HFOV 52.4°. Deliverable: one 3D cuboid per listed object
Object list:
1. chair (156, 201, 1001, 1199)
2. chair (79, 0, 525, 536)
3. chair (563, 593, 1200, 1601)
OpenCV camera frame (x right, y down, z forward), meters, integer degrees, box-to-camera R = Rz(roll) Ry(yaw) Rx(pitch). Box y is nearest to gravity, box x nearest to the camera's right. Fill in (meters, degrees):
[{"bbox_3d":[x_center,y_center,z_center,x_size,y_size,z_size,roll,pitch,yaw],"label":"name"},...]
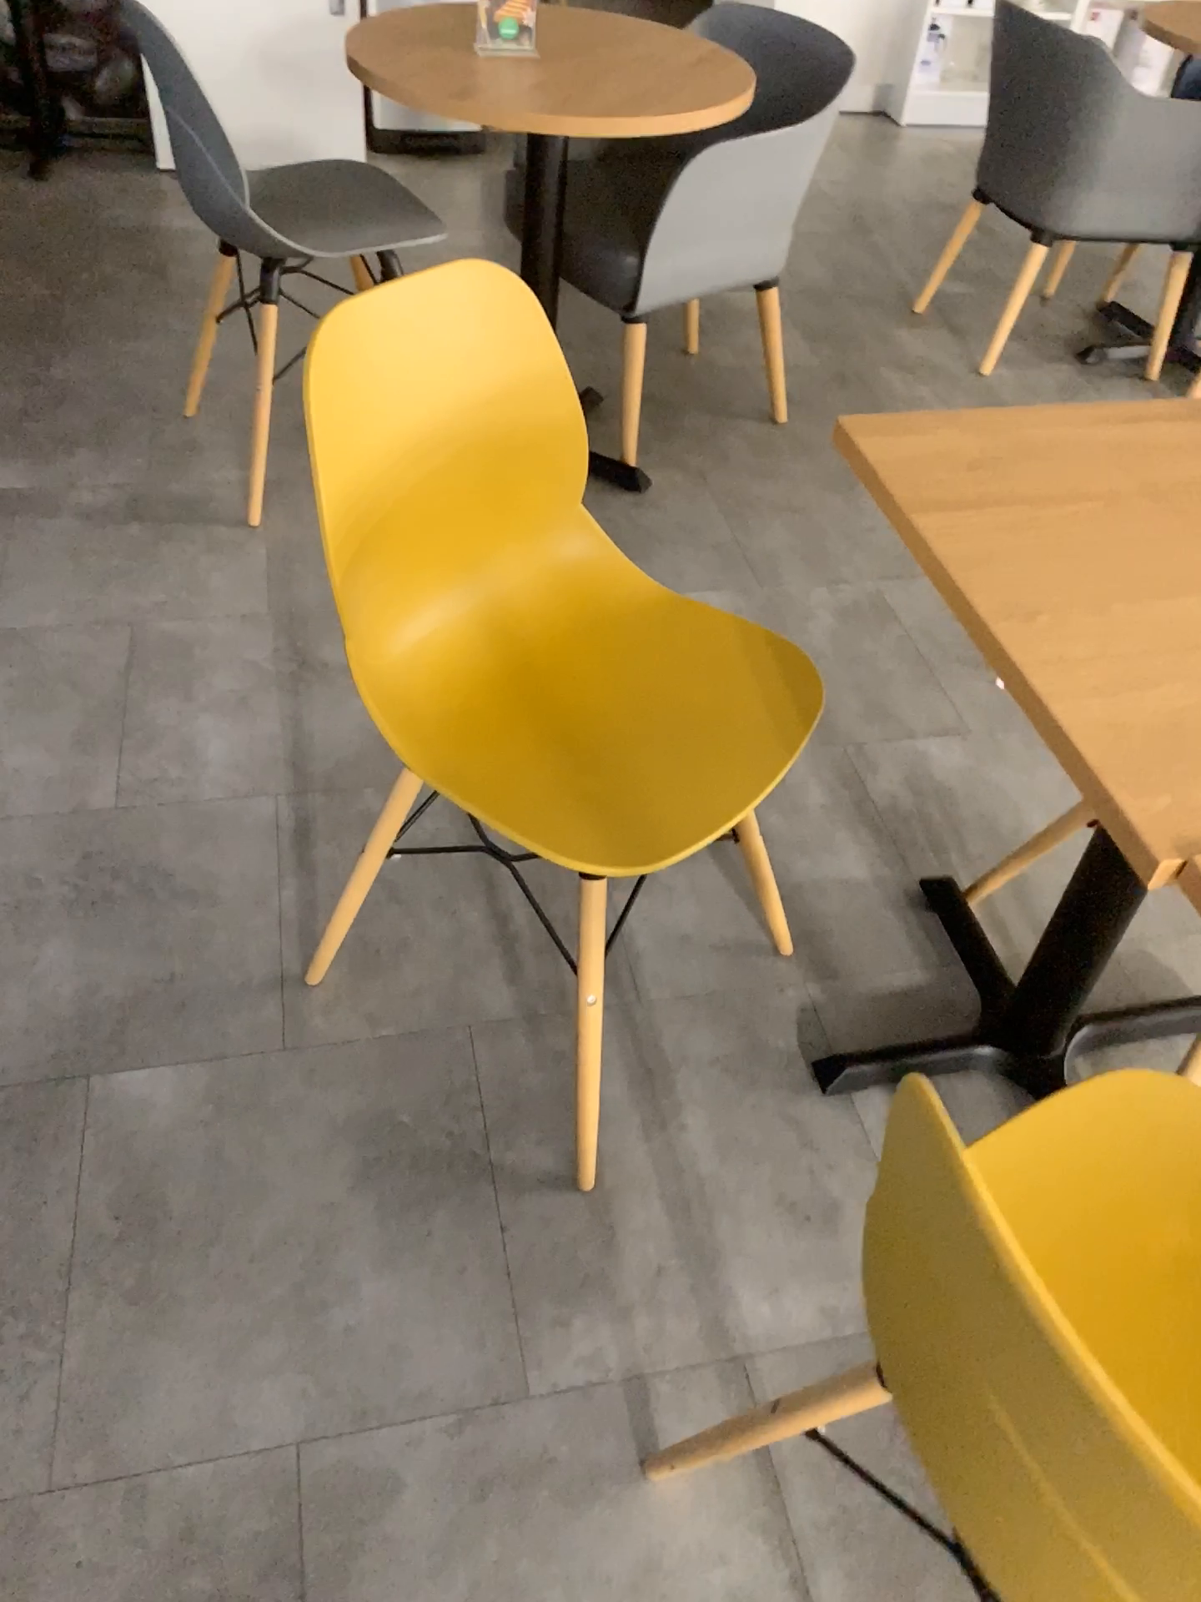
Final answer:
[{"bbox_3d":[-0.033,-0.108,1.316,0.520,0.781,0.519,31,49,24],"label":"chair"},{"bbox_3d":[-0.513,-1.007,2.207,0.540,0.781,0.520,-20,49,-25],"label":"chair"},{"bbox_3d":[0.350,0.376,0.857,0.530,0.781,0.520,-17,48,-23],"label":"chair"}]
